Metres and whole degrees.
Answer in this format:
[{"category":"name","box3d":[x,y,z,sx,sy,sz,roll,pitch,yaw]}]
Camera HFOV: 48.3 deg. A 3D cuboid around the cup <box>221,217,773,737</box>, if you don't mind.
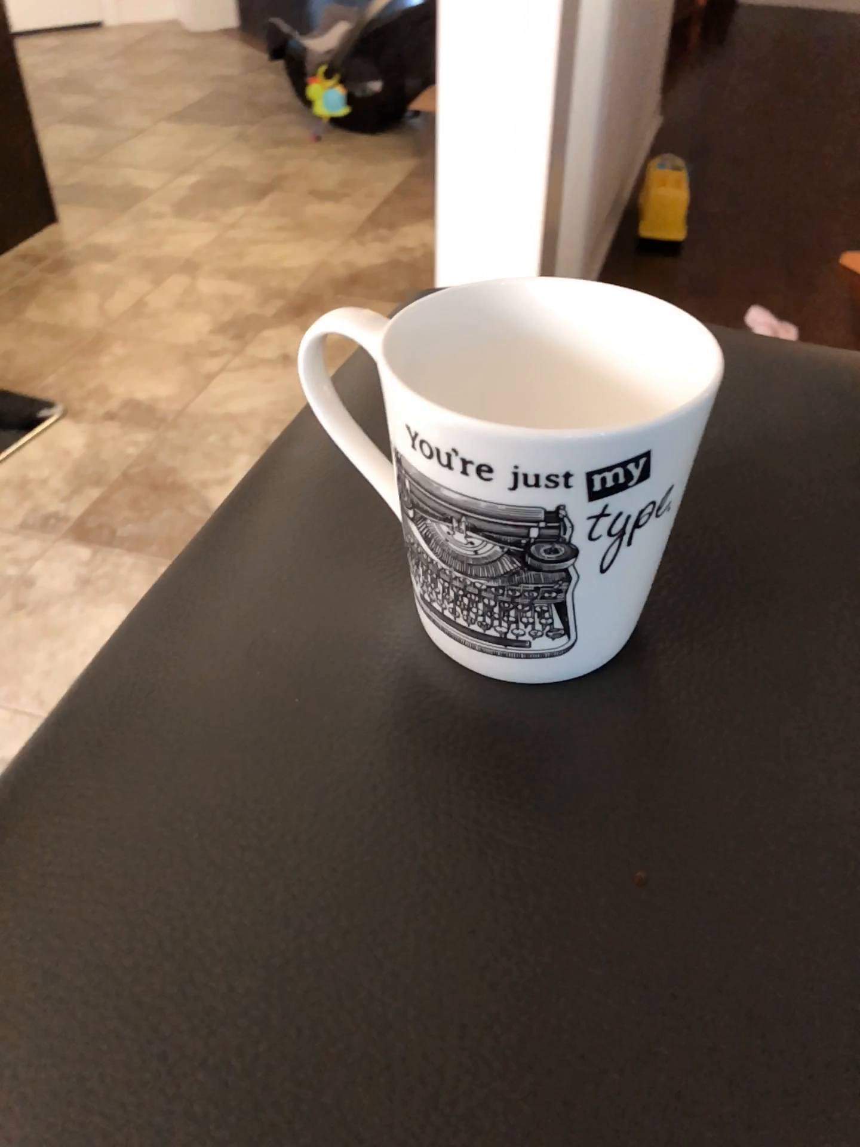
[{"category":"cup","box3d":[0.018,-0.033,0.276,0.117,0.089,0.081,23,45,24]}]
